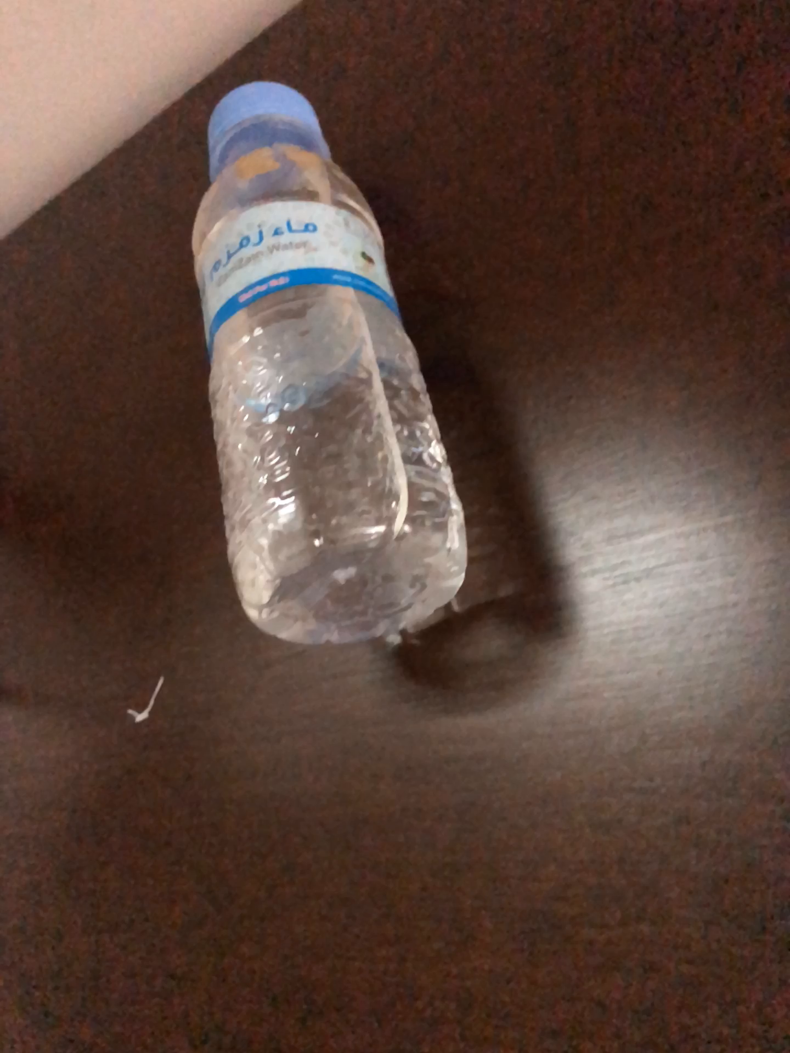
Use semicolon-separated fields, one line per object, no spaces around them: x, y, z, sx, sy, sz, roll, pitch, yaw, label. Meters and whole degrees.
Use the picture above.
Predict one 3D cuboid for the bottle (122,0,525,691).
-0.024;-0.049;0.214;0.050;0.050;0.160;-27;56;18;bottle
